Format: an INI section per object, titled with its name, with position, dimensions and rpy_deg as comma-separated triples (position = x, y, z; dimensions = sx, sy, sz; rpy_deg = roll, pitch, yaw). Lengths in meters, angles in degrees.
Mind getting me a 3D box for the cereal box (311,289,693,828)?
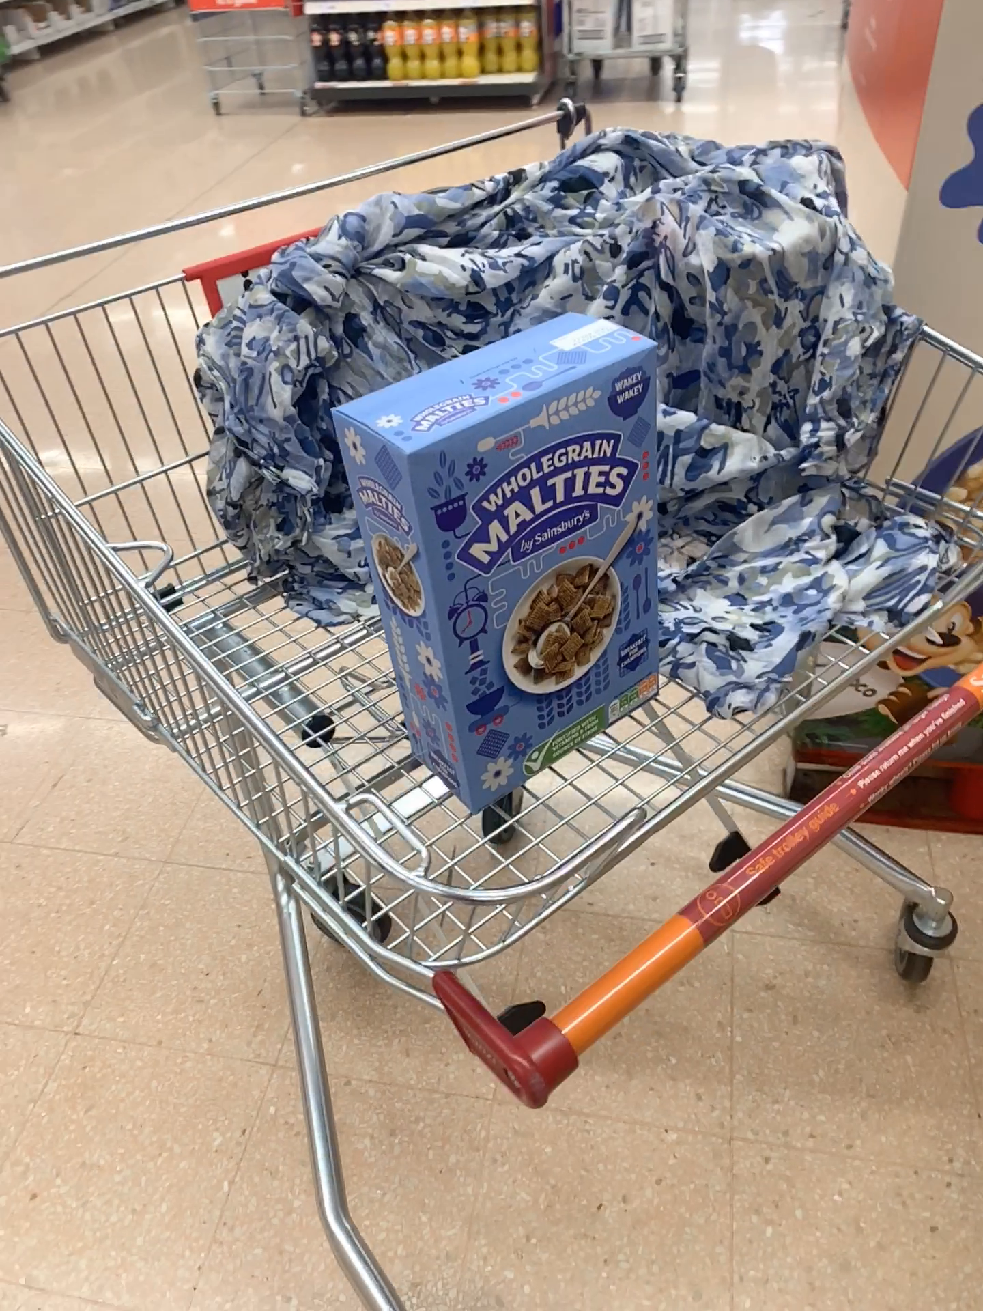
[cereal box]
position = 0.023, -0.064, 0.681
dimensions = 0.221, 0.287, 0.091
rpy_deg = -30, 43, -27
